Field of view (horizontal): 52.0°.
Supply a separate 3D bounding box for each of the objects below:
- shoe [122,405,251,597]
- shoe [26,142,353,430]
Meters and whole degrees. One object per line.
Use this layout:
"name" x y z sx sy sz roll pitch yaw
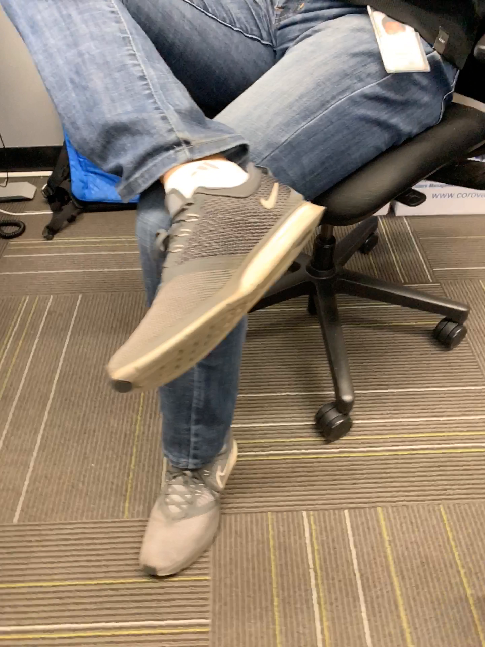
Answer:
"shoe" -0.085 0.301 0.885 0.113 0.092 0.288 14 48 14
"shoe" -0.037 -0.057 0.510 0.134 0.120 0.295 35 54 26
